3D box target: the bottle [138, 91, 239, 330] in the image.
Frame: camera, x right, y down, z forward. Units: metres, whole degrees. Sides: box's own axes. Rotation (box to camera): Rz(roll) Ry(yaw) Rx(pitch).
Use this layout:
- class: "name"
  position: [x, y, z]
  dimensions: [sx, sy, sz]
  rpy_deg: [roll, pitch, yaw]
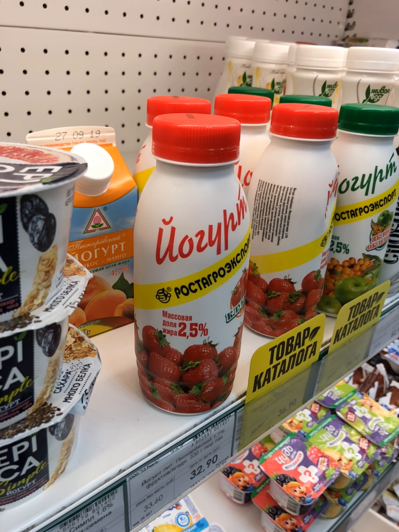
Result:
- class: "bottle"
  position: [-0.011, -0.034, 0.297]
  dimensions: [0.055, 0.146, 0.053]
  rpy_deg: [3, 26, -2]

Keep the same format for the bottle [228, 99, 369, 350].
- class: "bottle"
  position: [0.063, -0.028, 0.295]
  dimensions: [0.056, 0.146, 0.058]
  rpy_deg: [3, 26, -2]

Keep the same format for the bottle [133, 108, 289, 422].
- class: "bottle"
  position: [-0.003, 0.001, 0.227]
  dimensions: [0.058, 0.146, 0.057]
  rpy_deg: [3, 26, -2]
